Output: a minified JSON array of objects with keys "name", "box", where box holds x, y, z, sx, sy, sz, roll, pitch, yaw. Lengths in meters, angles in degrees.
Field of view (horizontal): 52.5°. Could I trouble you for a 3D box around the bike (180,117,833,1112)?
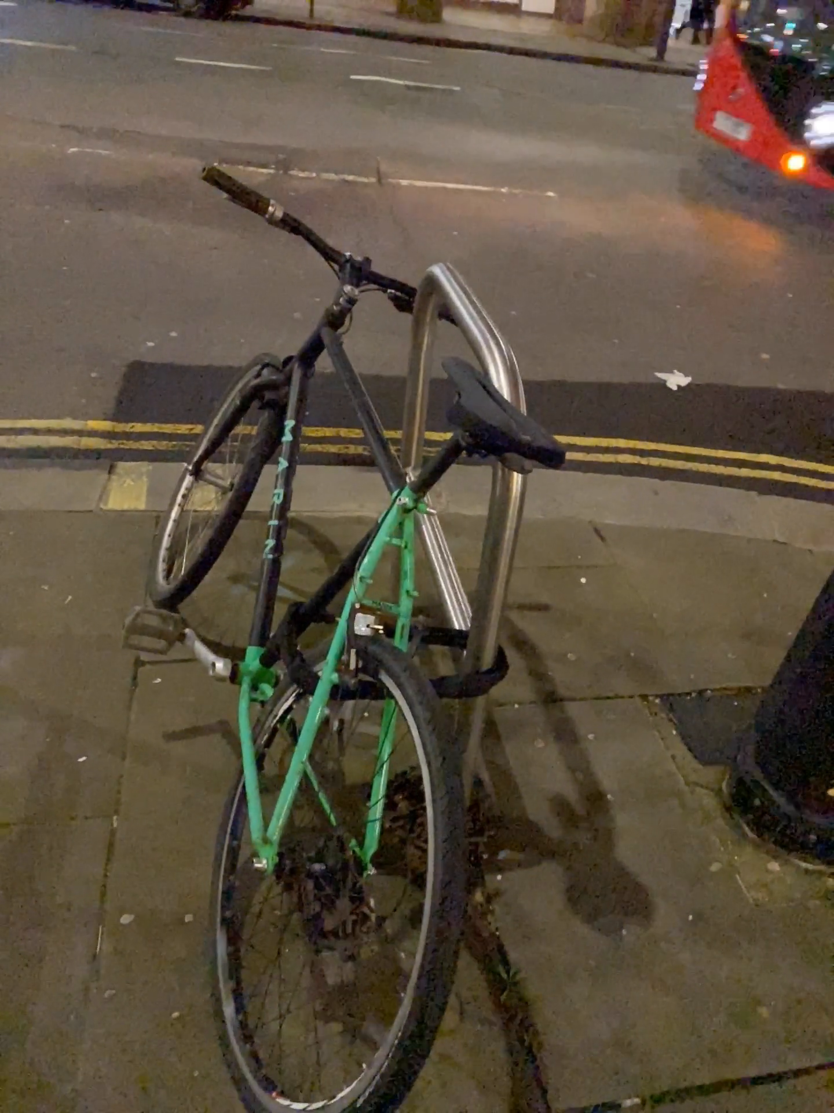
[{"name":"bike","box":[-0.011,-0.074,1.551,0.639,1.014,1.695,-6,37,-16]}]
